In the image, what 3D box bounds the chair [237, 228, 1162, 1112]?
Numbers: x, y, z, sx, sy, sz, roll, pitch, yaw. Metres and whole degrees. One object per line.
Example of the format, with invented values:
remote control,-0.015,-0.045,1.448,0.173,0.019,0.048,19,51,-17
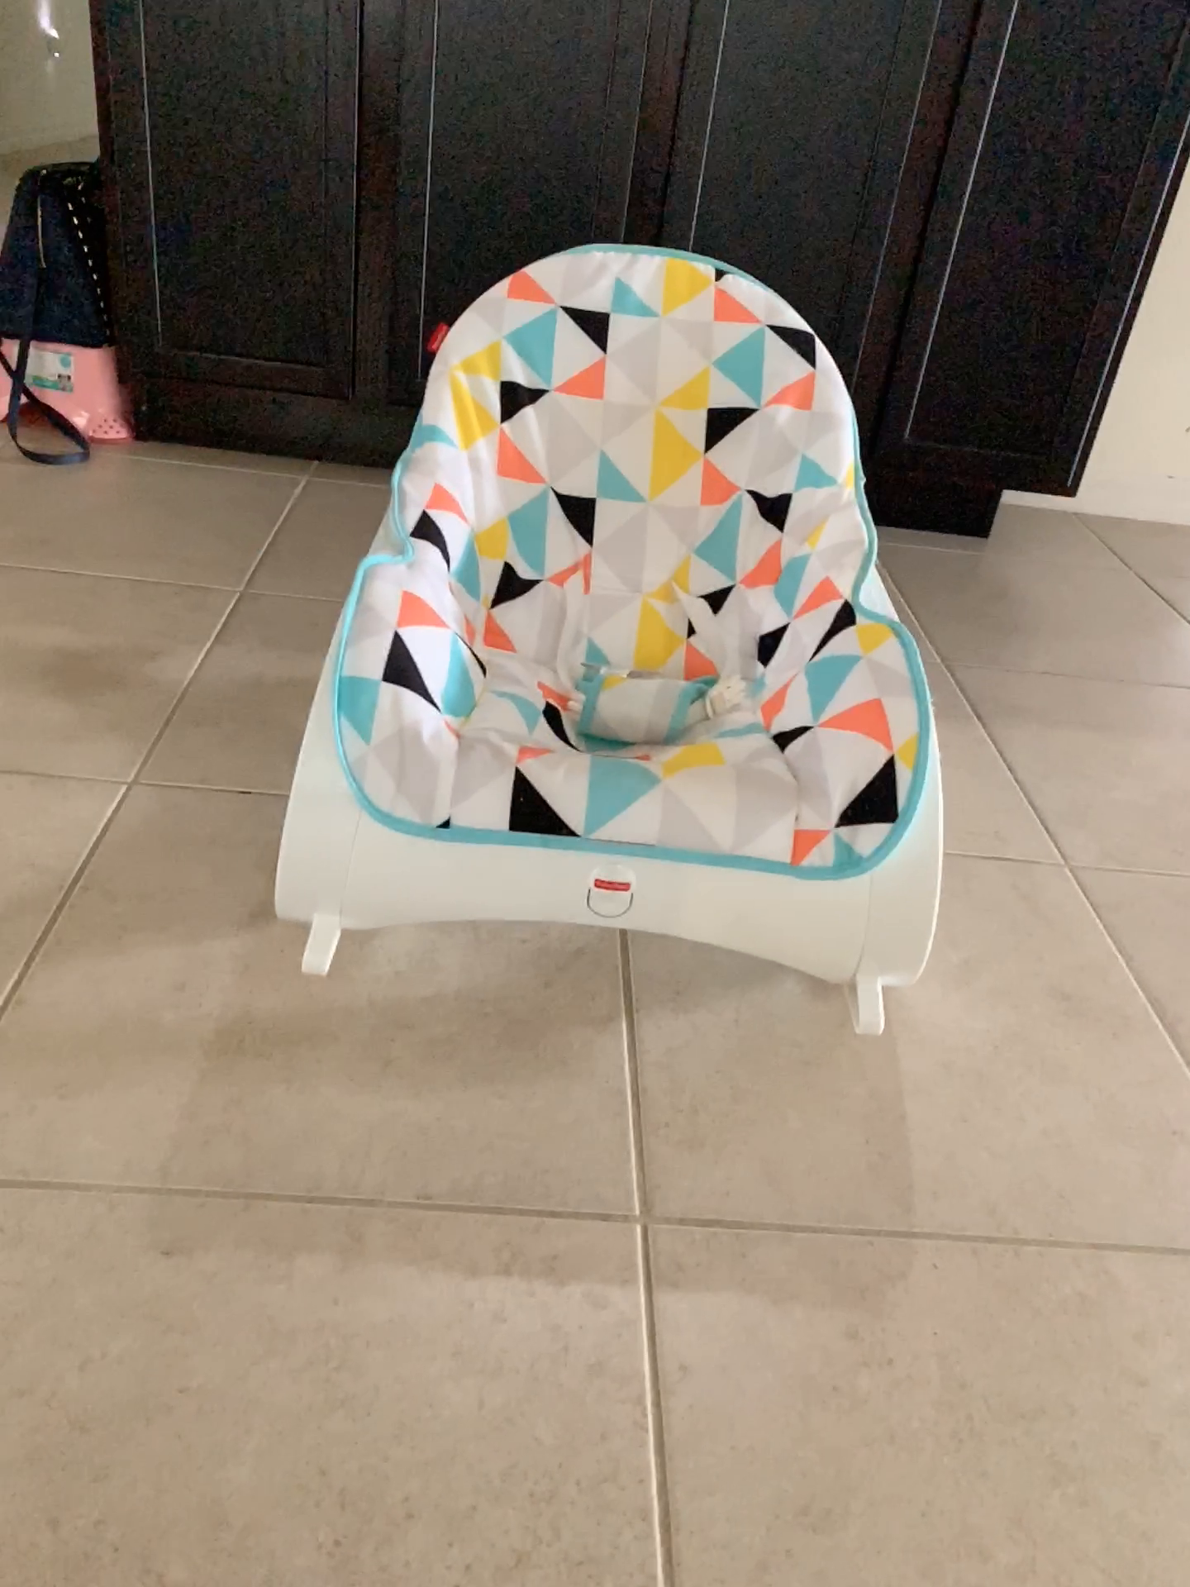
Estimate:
chair,0.036,-0.176,1.126,0.530,0.485,0.738,6,32,-4
